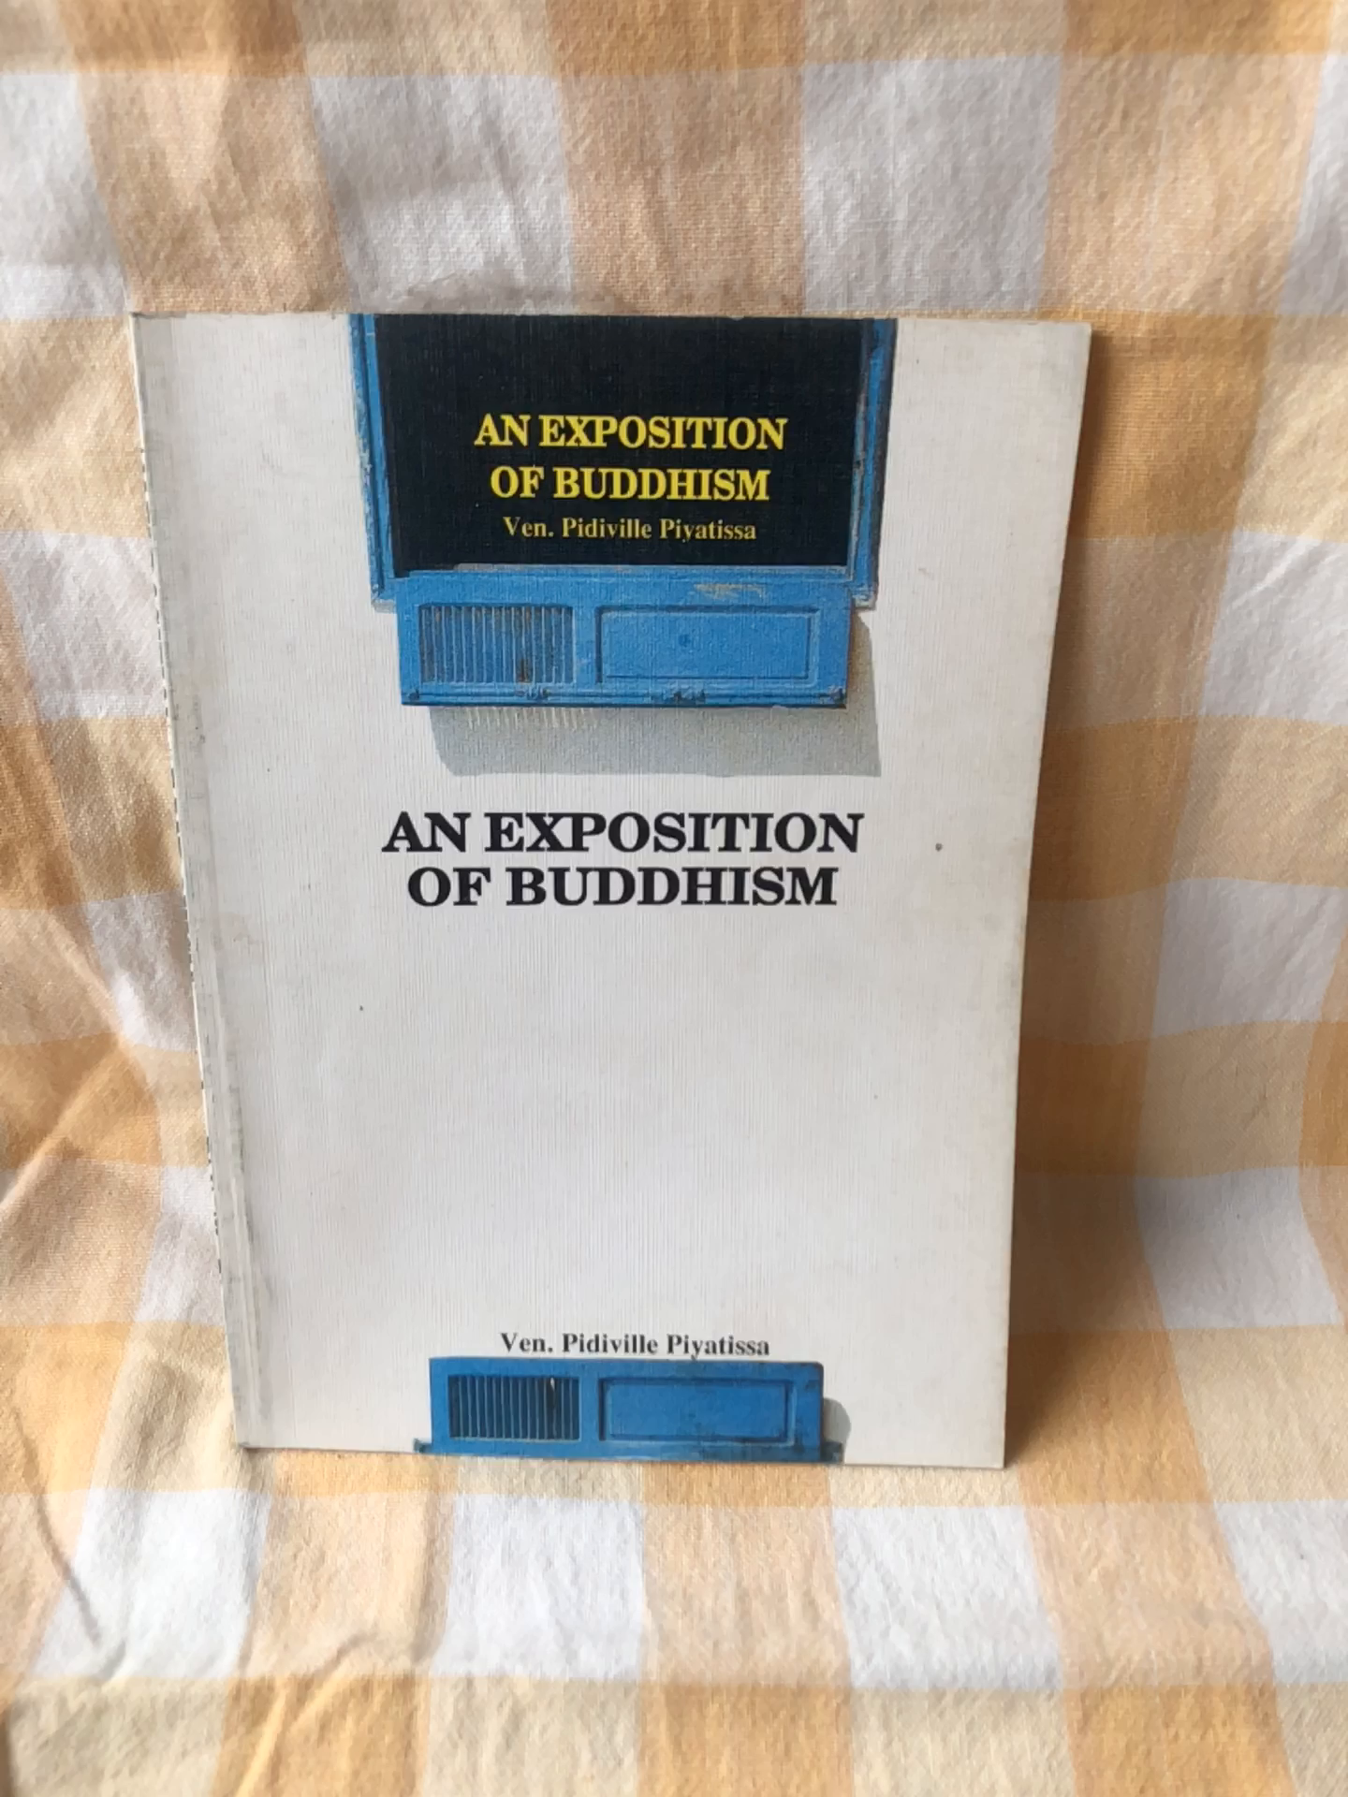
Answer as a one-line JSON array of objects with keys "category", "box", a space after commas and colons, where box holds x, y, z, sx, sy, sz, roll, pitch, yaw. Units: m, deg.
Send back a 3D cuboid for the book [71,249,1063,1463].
[{"category": "book", "box": [-0.015, 0.002, 0.249, 0.140, 0.199, 0.020, 1, 18, 3]}]
